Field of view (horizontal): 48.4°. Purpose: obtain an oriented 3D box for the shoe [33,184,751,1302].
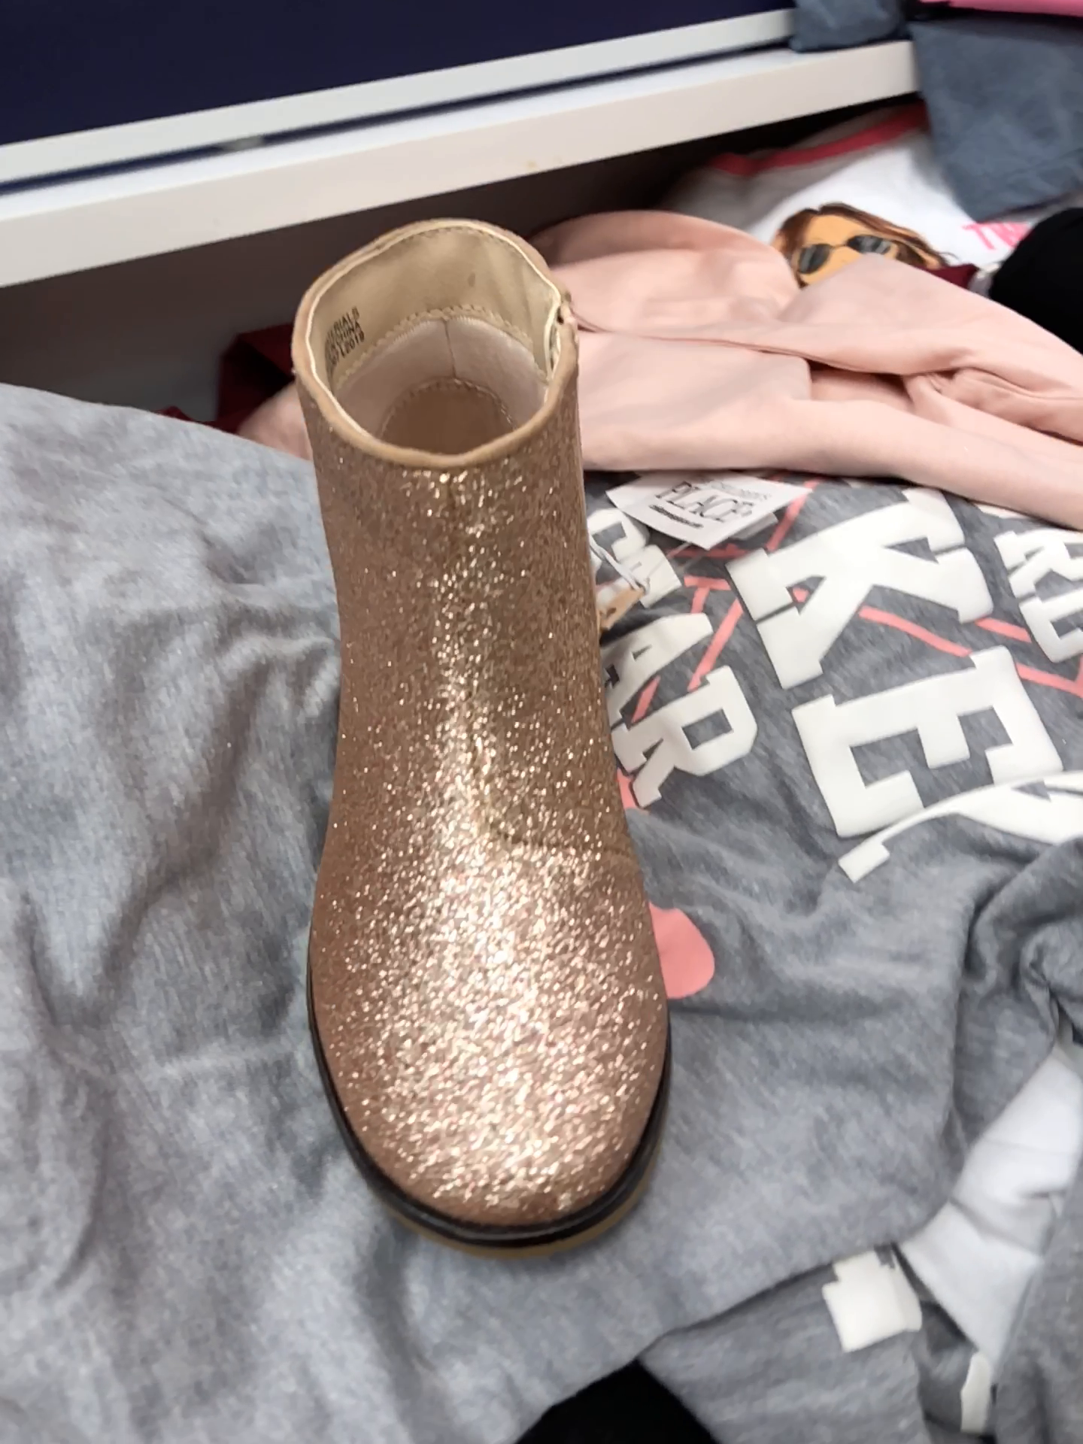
[{"bbox_3d":[-0.018,-0.022,0.273,0.083,0.129,0.238,-6,36,1],"label":"shoe"}]
